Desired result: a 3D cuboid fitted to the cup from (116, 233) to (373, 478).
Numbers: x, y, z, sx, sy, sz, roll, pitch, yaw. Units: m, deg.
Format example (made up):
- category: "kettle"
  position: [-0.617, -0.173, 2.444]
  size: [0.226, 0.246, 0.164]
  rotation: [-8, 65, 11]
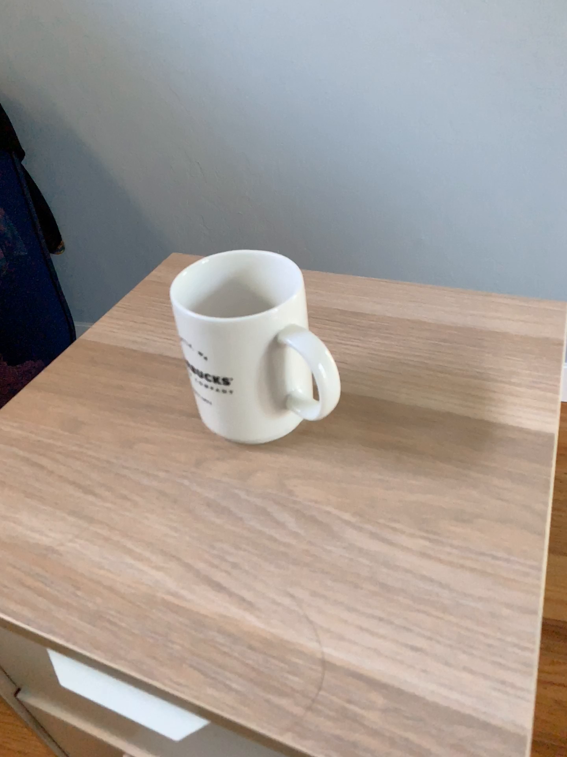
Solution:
- category: "cup"
  position: [-0.024, -0.024, 0.381]
  size: [0.100, 0.080, 0.131]
  rotation: [-33, 46, -28]
